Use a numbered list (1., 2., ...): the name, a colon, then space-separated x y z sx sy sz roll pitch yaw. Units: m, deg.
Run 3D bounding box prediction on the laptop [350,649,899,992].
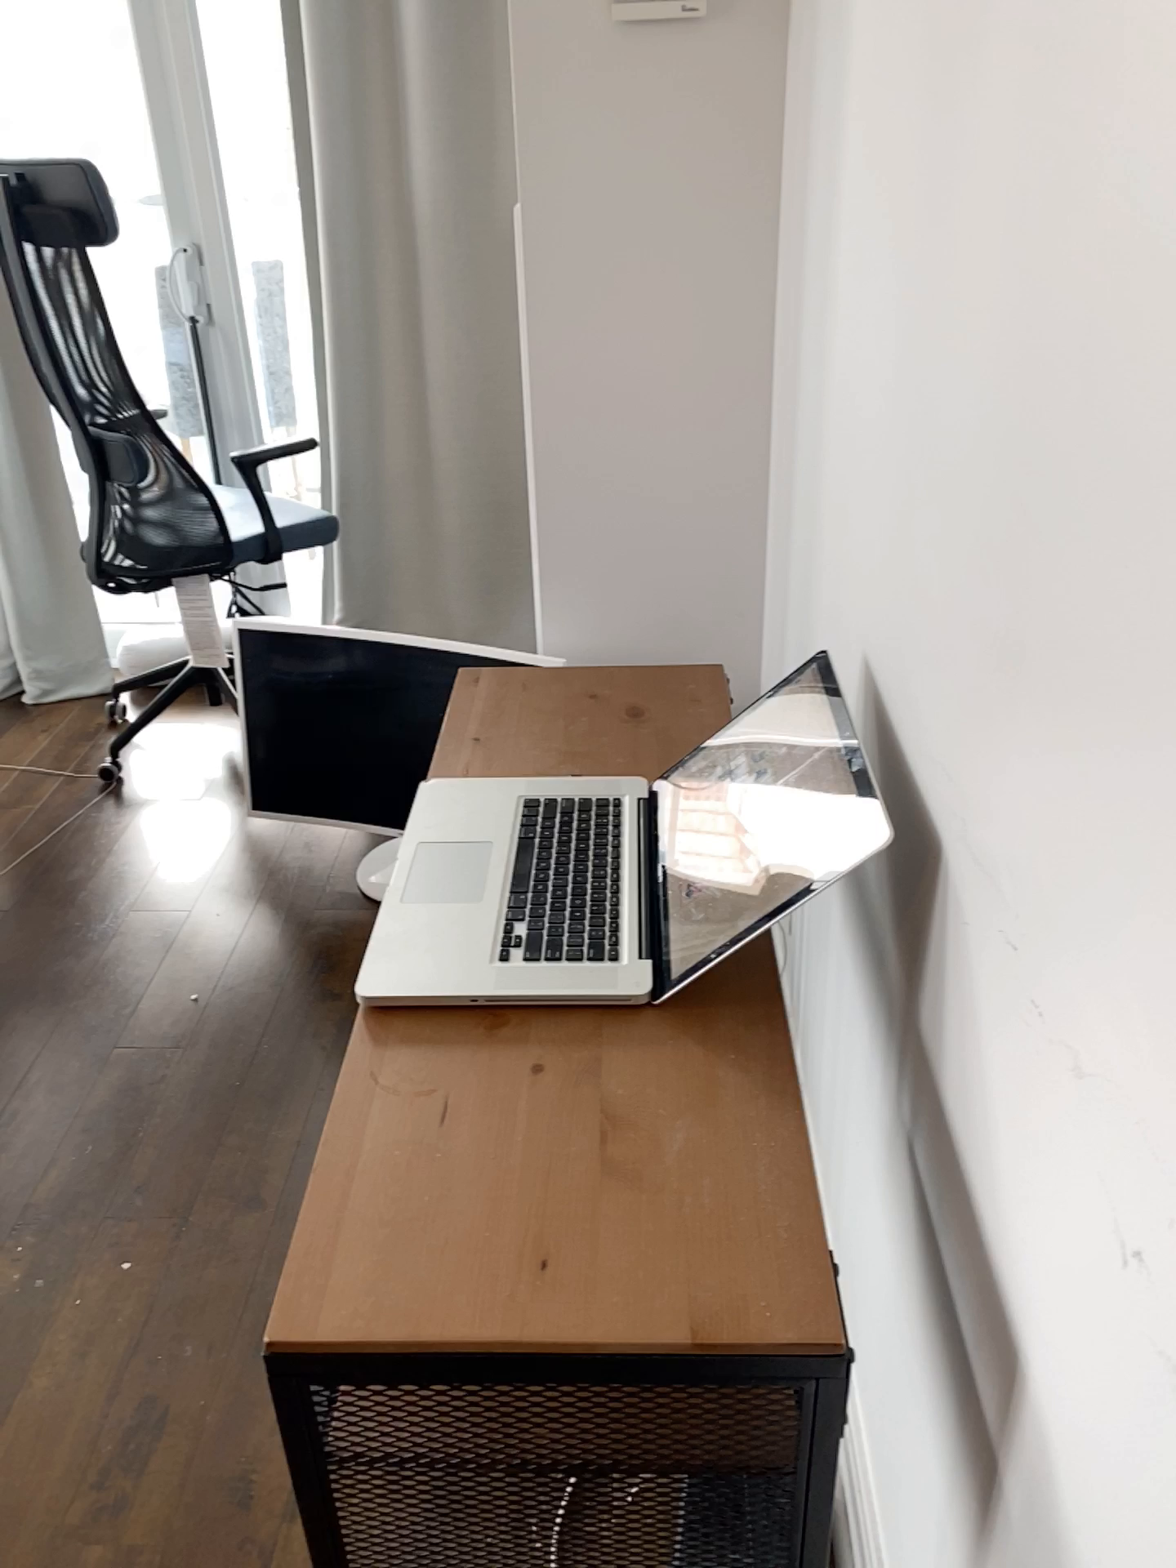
1. laptop: 0.035 0.019 1.148 0.438 0.151 0.370 -1 30 3
